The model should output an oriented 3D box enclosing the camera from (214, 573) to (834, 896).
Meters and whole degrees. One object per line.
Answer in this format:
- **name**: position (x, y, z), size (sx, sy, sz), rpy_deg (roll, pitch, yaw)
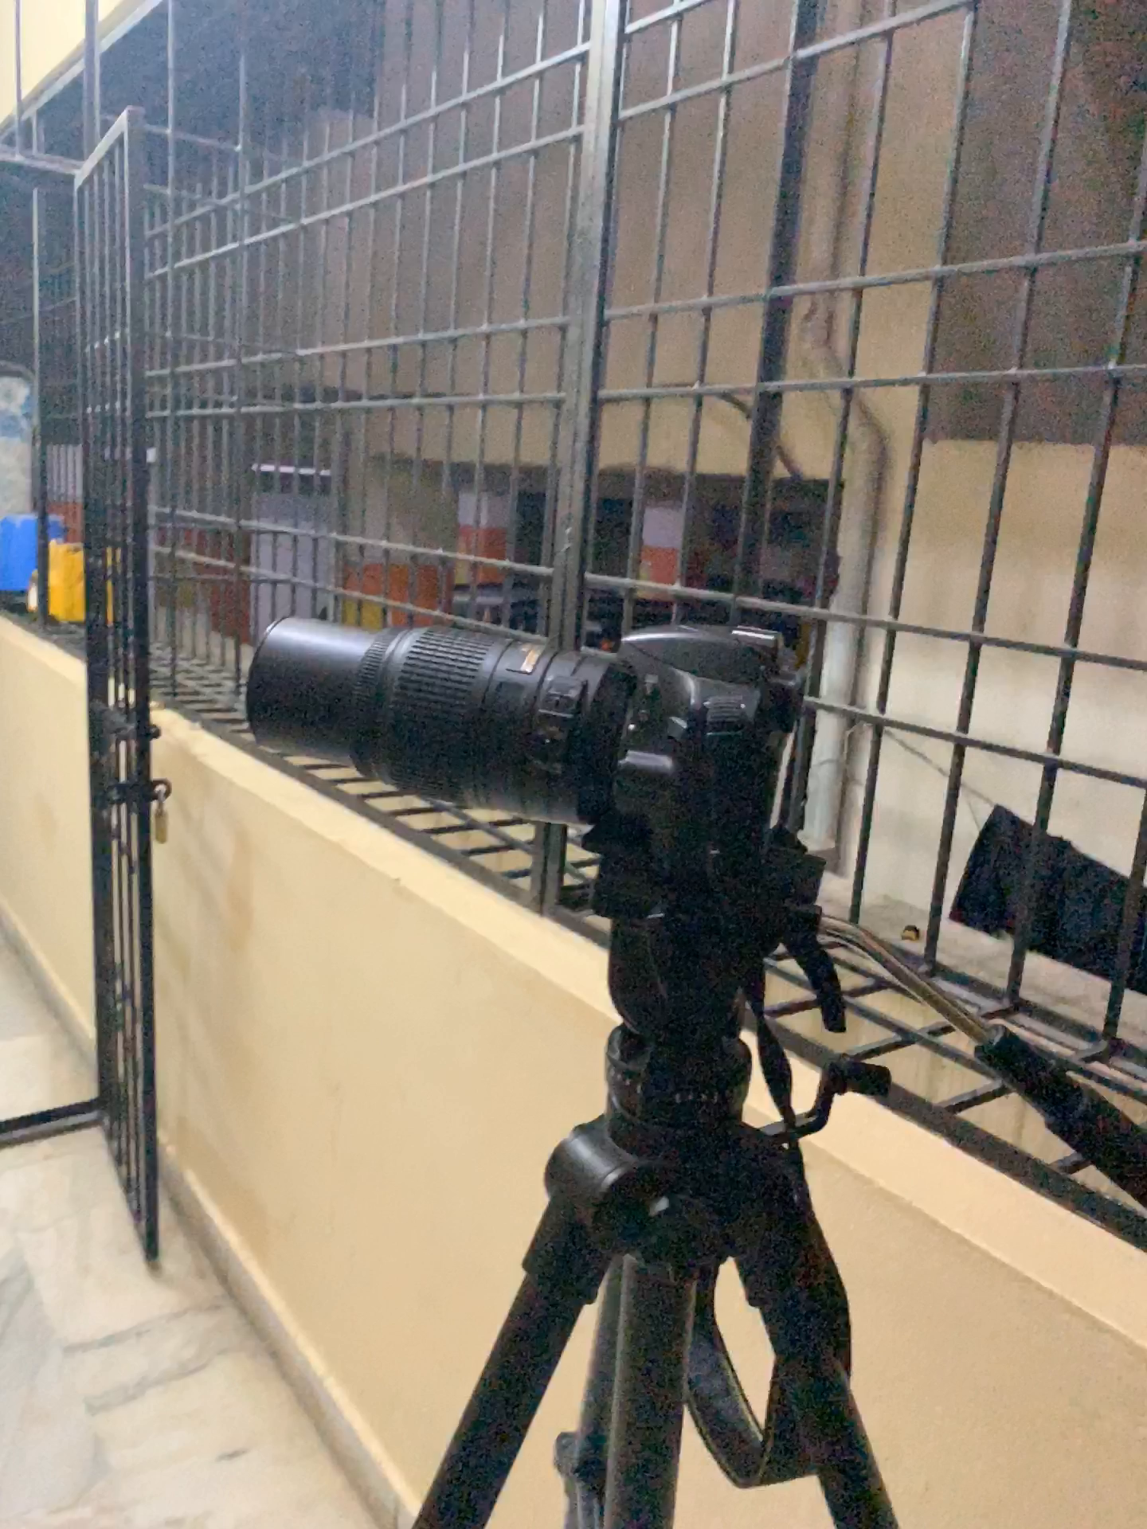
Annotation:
- **camera**: position (-0.015, -0.023, 0.492), size (0.230, 0.090, 0.120), rpy_deg (7, 13, 14)
